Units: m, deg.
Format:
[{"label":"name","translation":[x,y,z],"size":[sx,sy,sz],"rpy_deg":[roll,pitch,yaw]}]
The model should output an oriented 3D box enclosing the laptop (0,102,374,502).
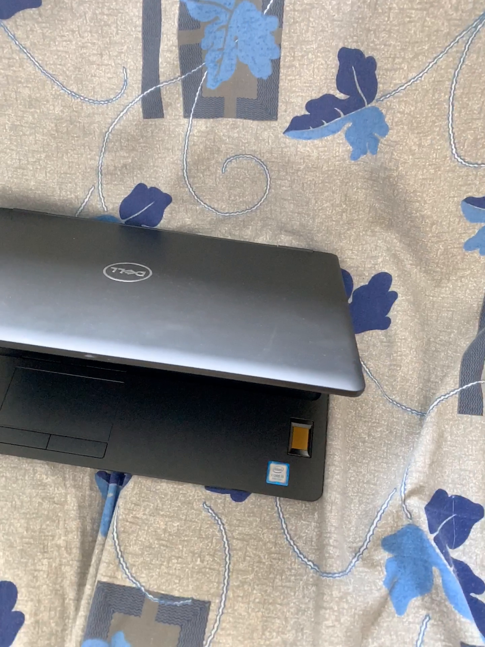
[{"label":"laptop","translation":[-0.103,-0.016,0.400],"size":[0.371,0.143,0.238],"rpy_deg":[8,64,2]}]
